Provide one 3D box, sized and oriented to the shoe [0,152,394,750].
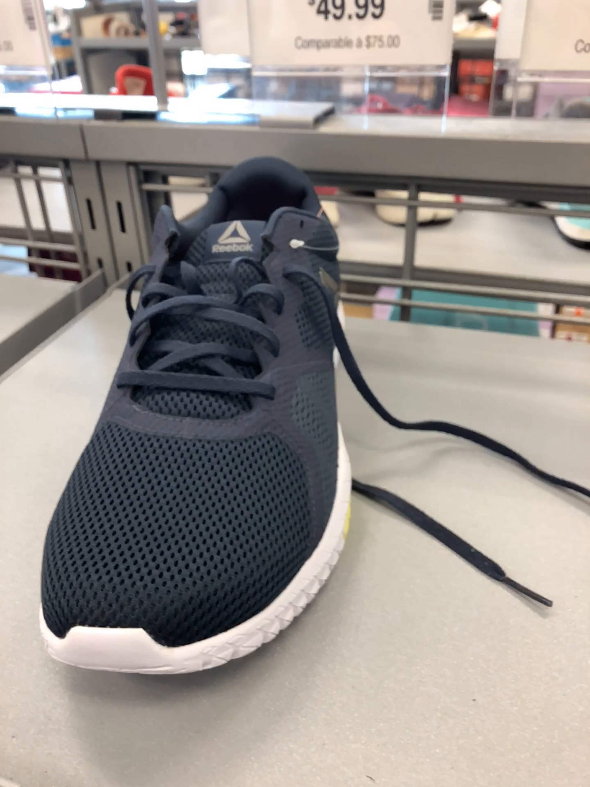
[{"bbox_3d":[-0.022,-0.024,0.323,0.120,0.109,0.322,4,32,9],"label":"shoe"}]
